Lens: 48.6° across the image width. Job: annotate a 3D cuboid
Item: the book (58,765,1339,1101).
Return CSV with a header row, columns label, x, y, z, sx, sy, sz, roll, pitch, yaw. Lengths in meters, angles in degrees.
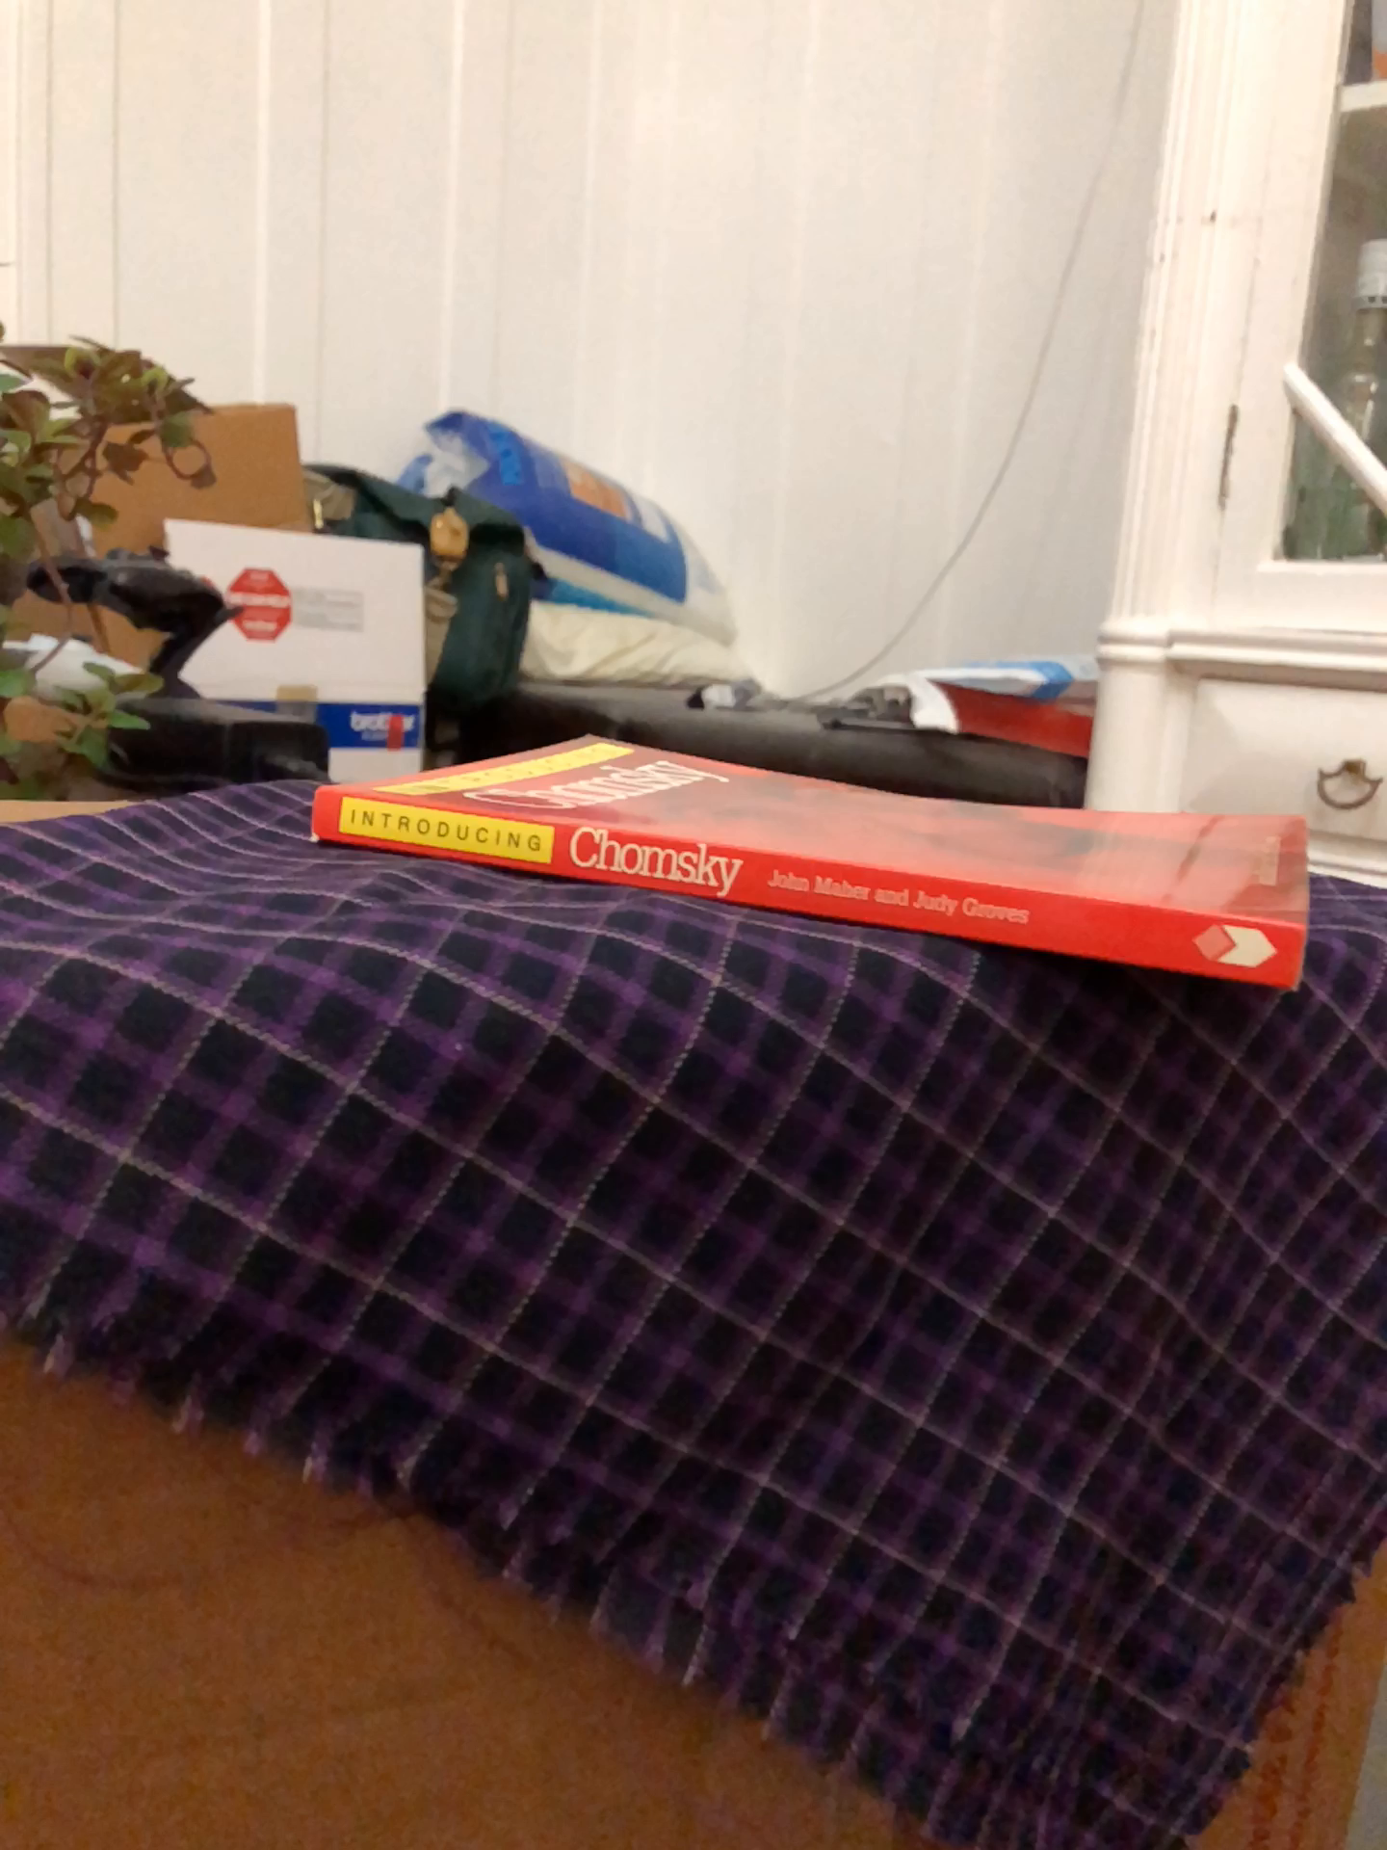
label,x,y,z,sx,sy,sz,roll,pitch,yaw
book,0.015,-0.011,0.355,0.240,0.020,0.180,8,11,19
